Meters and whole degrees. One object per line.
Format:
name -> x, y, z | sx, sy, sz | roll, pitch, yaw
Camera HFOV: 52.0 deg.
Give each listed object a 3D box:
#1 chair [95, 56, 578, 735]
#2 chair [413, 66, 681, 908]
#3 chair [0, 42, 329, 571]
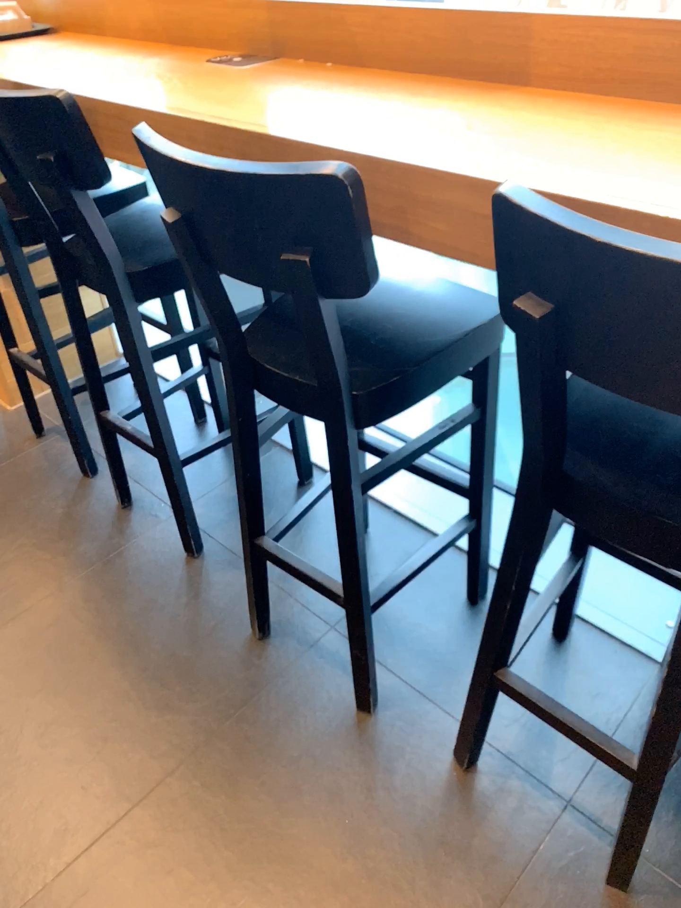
chair -> 0.025, -0.082, 1.231 | 0.454, 1.001, 0.463 | 27, 47, 34
chair -> 0.412, 0.099, 0.938 | 0.424, 1.001, 0.462 | 28, 48, 35
chair -> -0.360, -0.309, 1.576 | 0.462, 1.001, 0.394 | -32, 46, -32
